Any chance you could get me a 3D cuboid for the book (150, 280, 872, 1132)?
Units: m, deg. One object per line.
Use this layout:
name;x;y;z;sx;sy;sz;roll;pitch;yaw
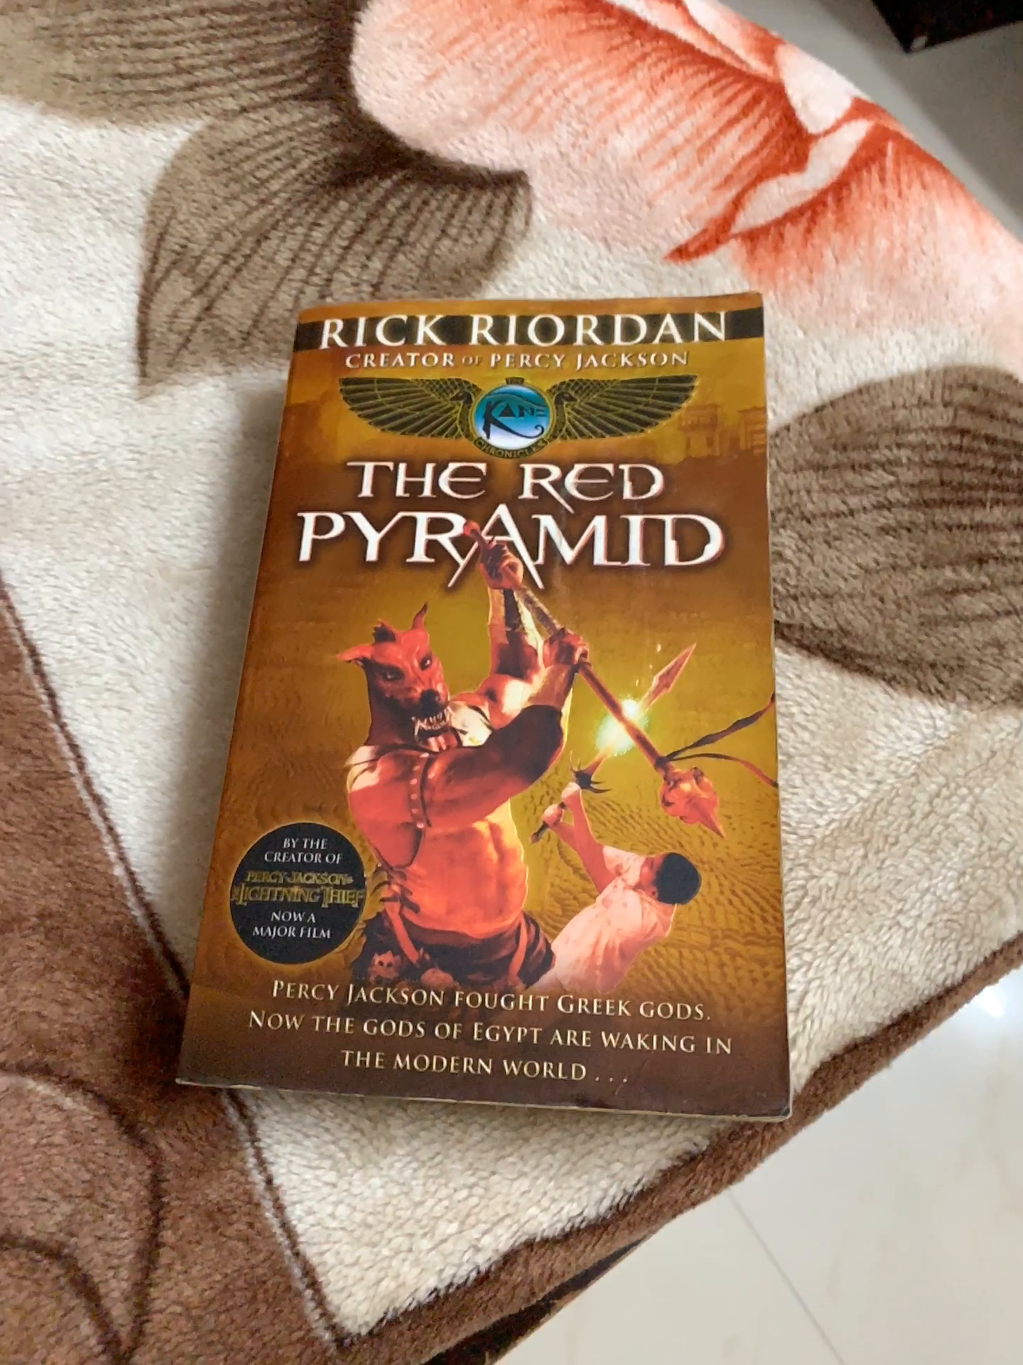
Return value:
book;0.005;-0.005;0.281;0.150;0.040;0.221;2;67;3
